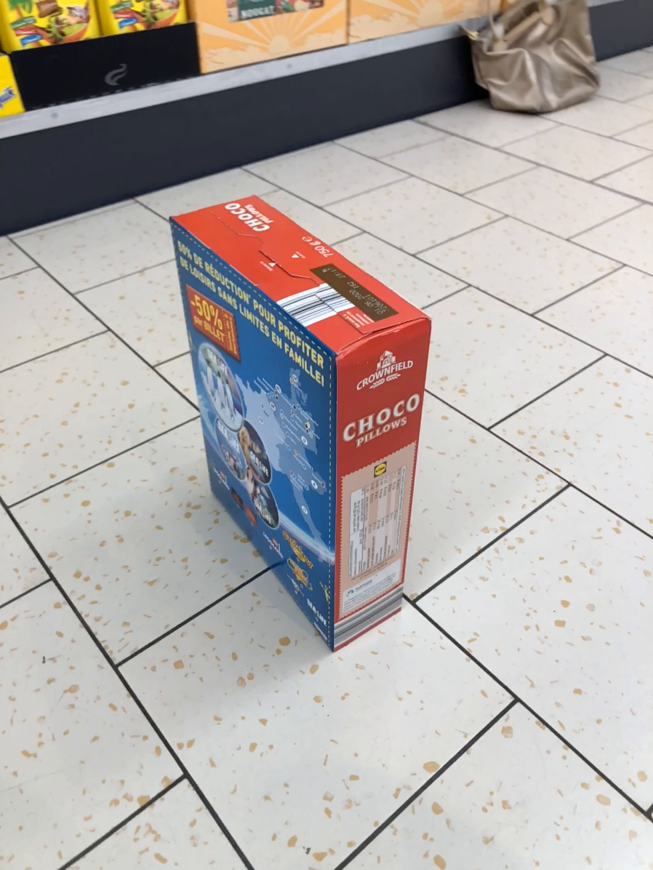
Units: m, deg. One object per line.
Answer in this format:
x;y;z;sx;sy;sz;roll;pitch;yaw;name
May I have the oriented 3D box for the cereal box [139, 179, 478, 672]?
-0.021;-0.009;0.479;0.090;0.239;0.210;-23;45;-25;cereal box
